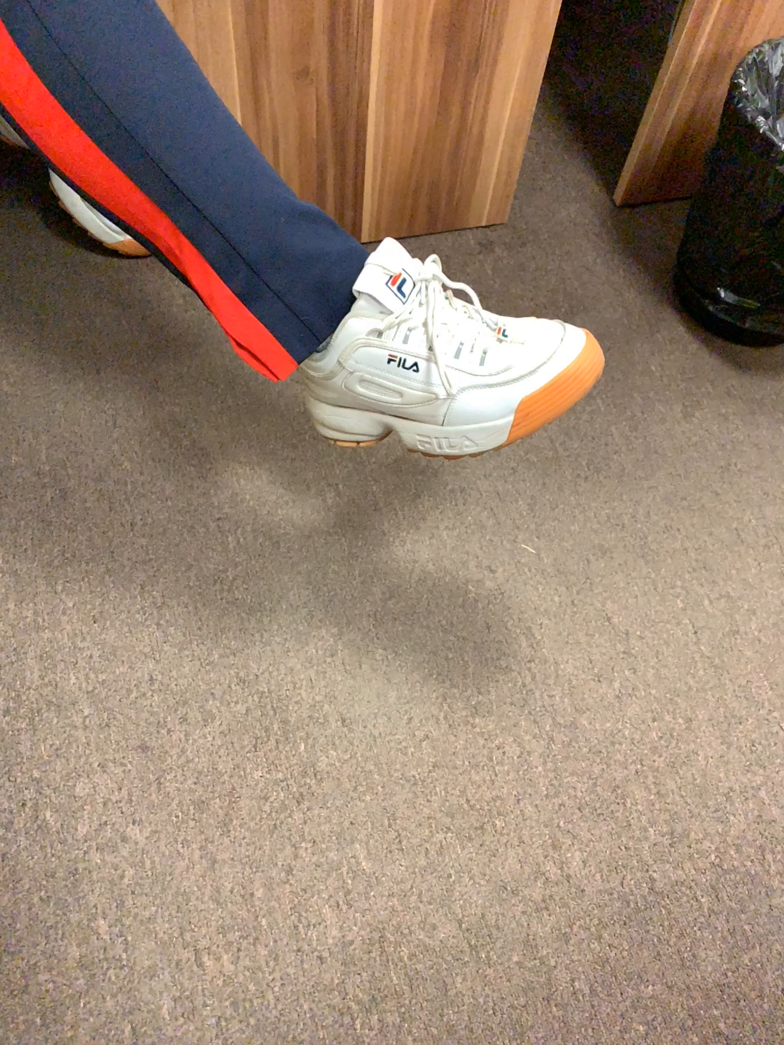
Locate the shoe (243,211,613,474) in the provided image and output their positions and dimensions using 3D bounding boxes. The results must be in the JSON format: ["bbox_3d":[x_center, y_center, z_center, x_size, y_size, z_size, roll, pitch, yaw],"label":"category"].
[{"bbox_3d":[0.035,-0.142,0.612,0.230,0.130,0.130,10,49,26],"label":"shoe"}]
